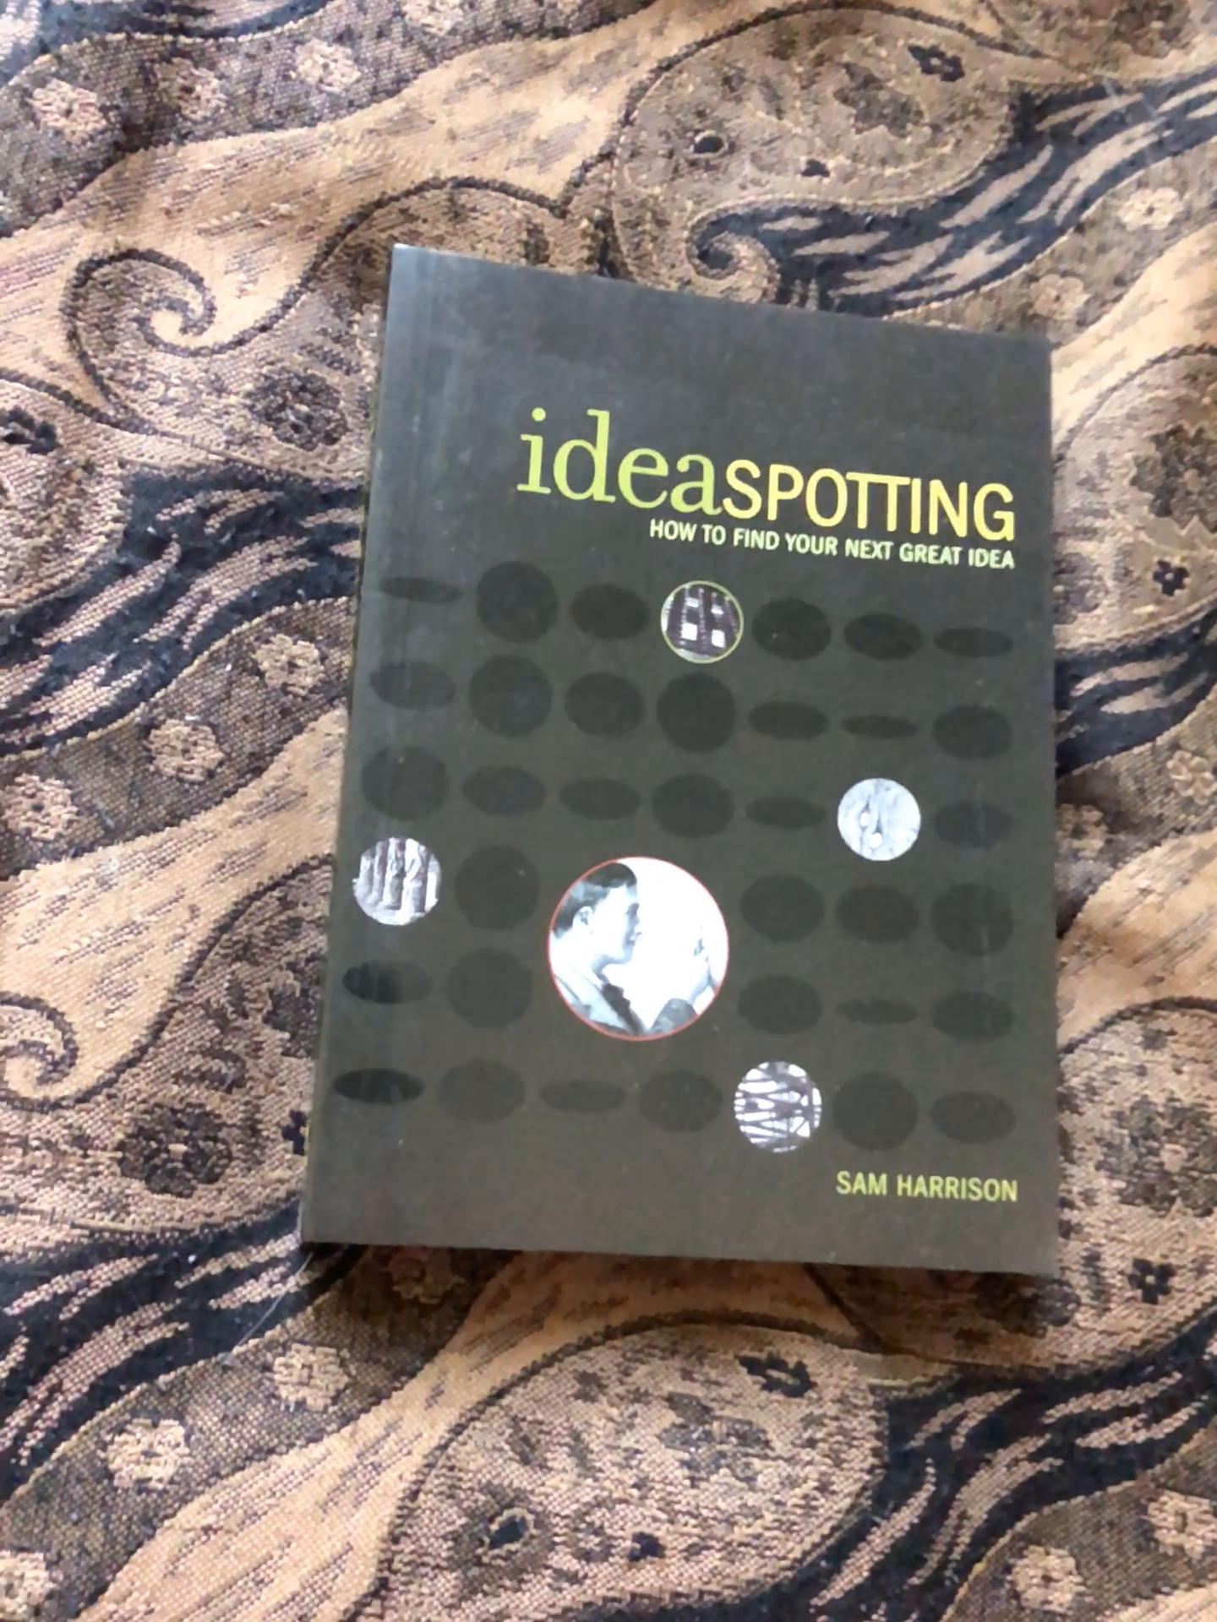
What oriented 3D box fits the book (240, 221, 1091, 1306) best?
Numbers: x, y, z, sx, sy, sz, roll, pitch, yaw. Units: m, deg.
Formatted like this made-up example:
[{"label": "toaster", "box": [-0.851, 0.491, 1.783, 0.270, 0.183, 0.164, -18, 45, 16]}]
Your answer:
[{"label": "book", "box": [0.014, -0.007, 0.255, 0.140, 0.040, 0.180, 5, 80, -8]}]
